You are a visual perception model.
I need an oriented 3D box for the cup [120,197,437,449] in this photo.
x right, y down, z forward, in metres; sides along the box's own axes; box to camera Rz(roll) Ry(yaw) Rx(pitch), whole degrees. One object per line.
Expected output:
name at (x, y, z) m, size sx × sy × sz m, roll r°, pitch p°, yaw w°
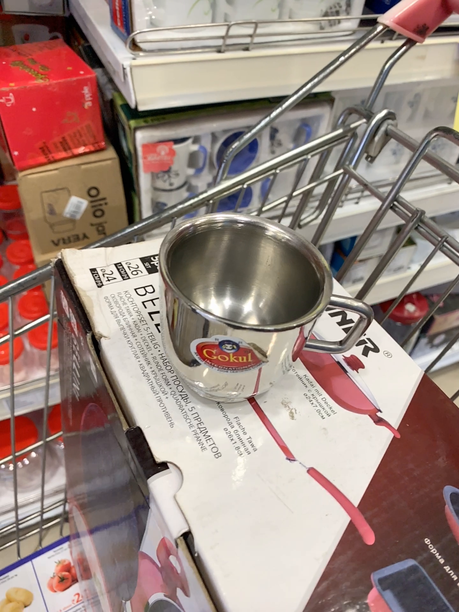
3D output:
cup at (0.016, 0.005, 0.173) m, size 0.090 × 0.050 × 0.060 m, roll 9°, pitch 47°, yaw 3°
